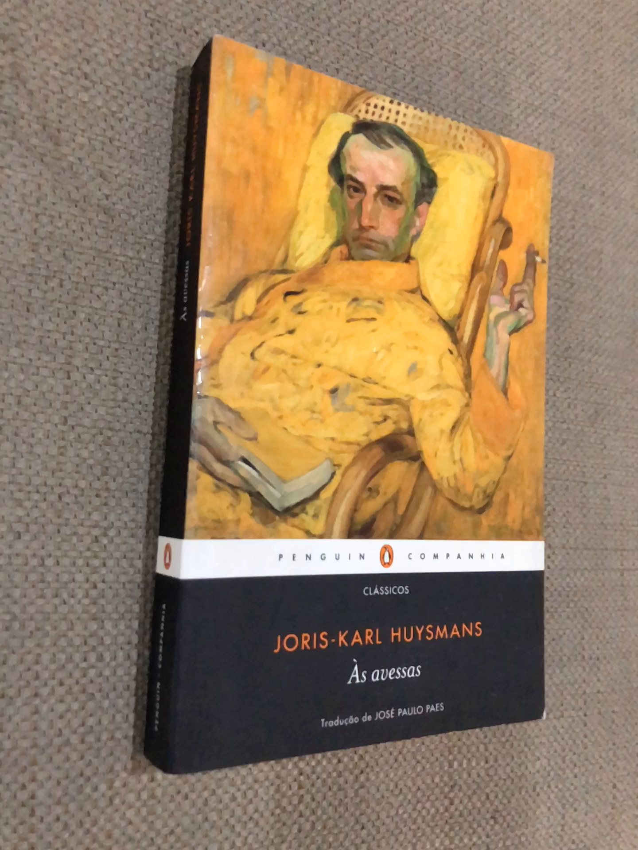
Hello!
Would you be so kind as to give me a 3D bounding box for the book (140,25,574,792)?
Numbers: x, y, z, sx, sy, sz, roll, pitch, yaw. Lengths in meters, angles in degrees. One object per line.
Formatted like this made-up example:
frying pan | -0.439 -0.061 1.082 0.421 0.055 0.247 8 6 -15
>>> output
book | 0.021 -0.003 0.219 0.131 0.023 0.195 6 84 -27
